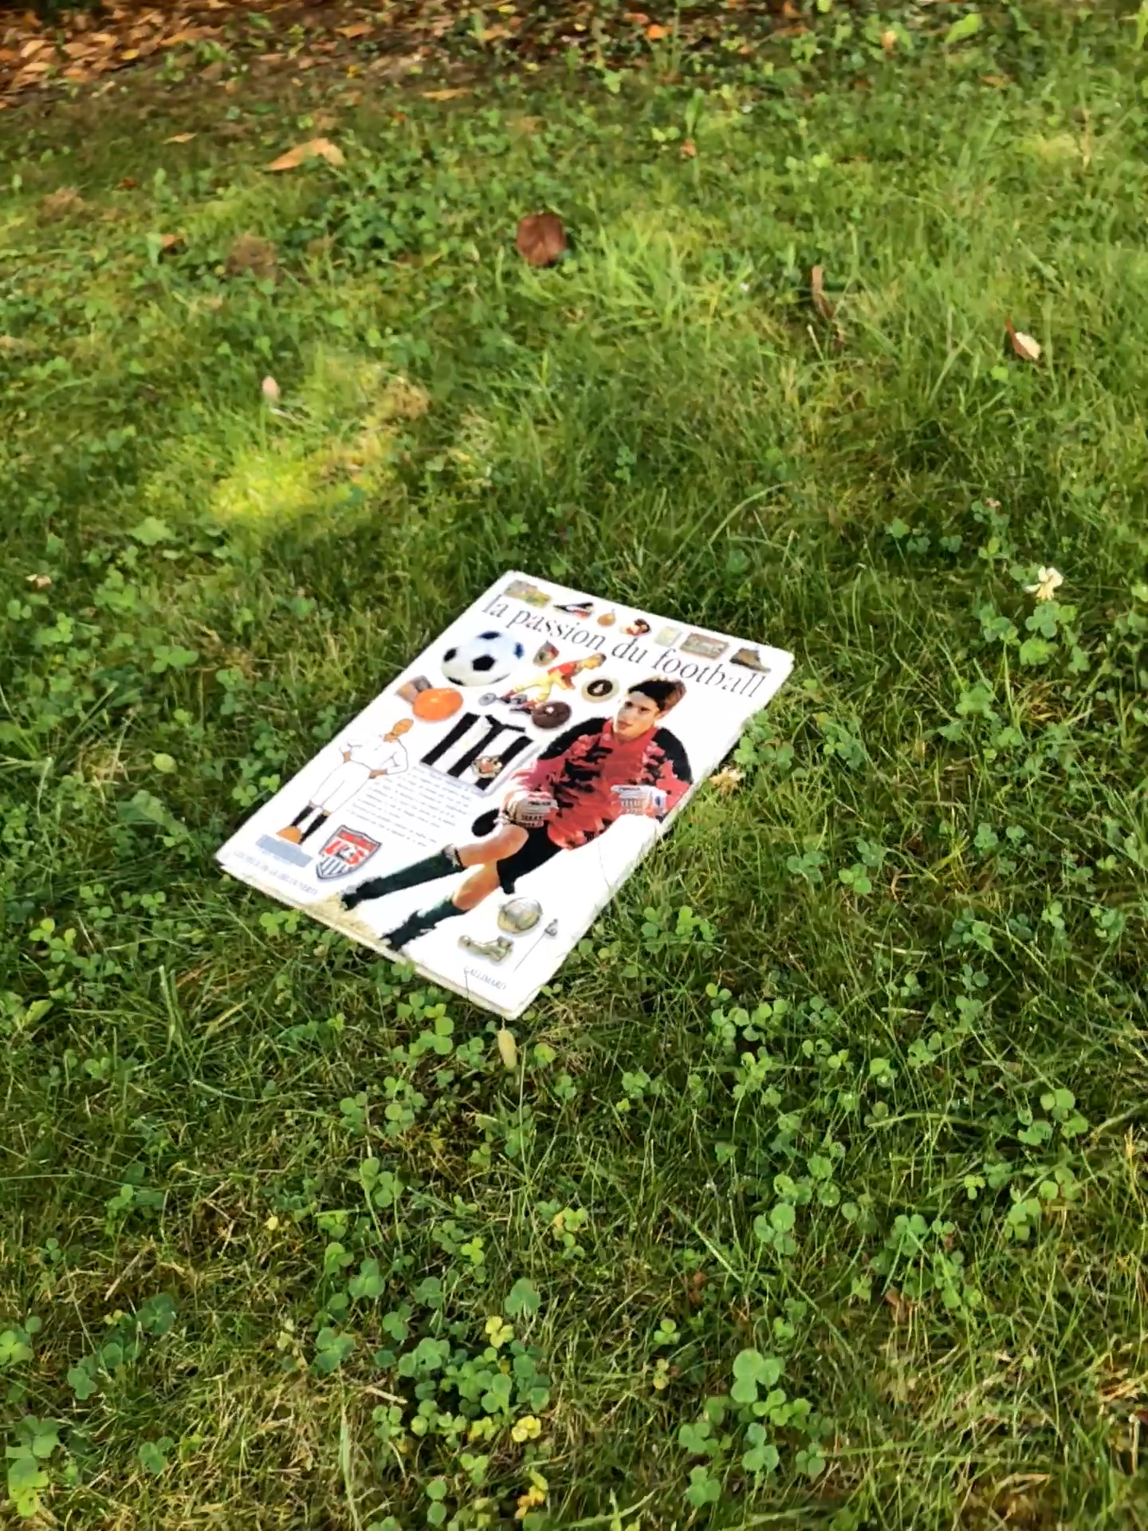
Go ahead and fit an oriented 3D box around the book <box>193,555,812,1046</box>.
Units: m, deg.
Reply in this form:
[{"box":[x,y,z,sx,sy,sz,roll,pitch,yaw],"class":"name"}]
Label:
[{"box":[-0.036,-0.005,0.739,0.230,0.020,0.301,21,54,31],"class":"book"}]
